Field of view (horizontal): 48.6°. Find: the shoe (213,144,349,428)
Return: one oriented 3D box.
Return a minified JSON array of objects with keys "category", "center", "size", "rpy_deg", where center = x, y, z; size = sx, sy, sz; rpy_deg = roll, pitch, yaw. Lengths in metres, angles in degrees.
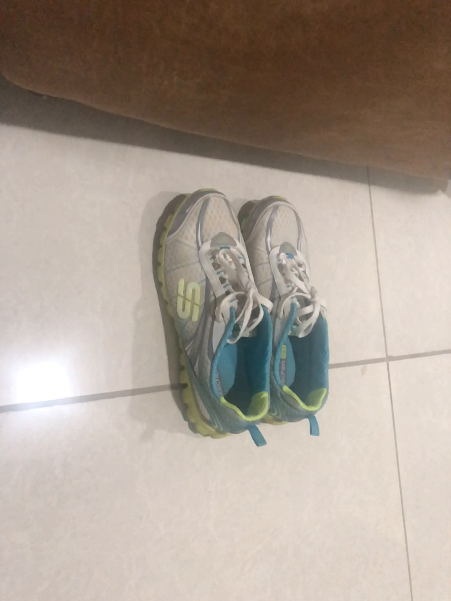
[{"category":"shoe","center":[0.061,-0.012,0.591],"size":[0.110,0.100,0.300],"rpy_deg":[2,83,-30]}]

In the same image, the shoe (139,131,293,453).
[{"category":"shoe","center":[-0.014,-0.007,0.528],"size":[0.100,0.100,0.300],"rpy_deg":[-3,85,-31]}]
